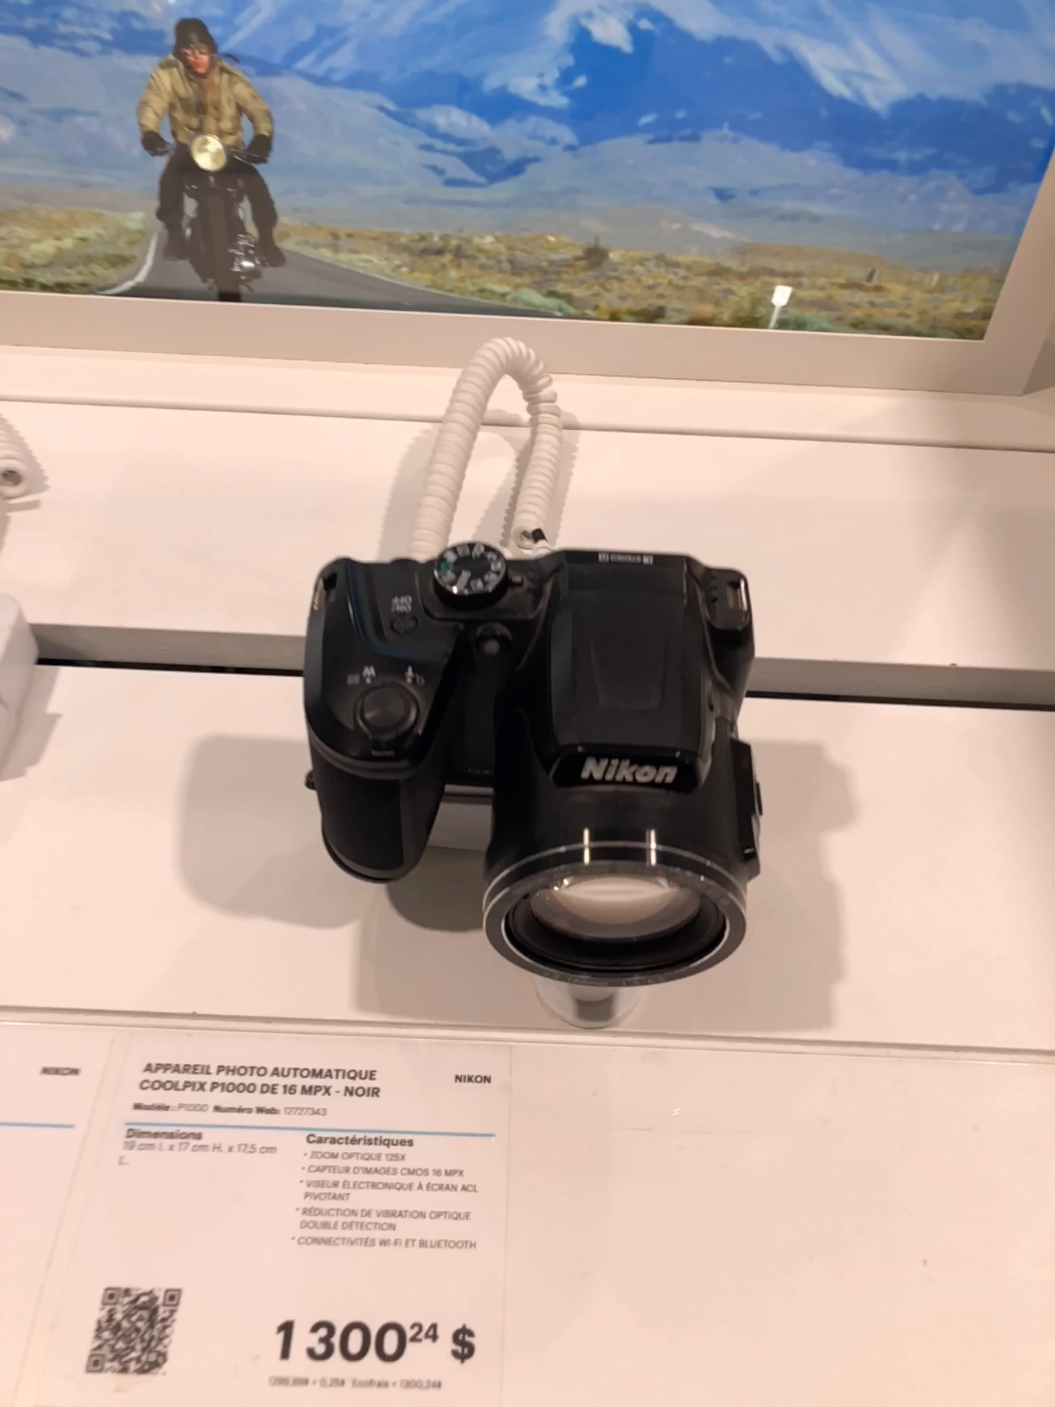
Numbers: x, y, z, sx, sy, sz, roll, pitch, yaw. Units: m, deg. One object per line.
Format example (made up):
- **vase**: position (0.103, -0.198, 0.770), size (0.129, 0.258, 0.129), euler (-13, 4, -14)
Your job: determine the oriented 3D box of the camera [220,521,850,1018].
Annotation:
- **camera**: position (0.000, 0.015, 0.272), size (0.117, 0.067, 0.092), euler (1, 48, -2)
